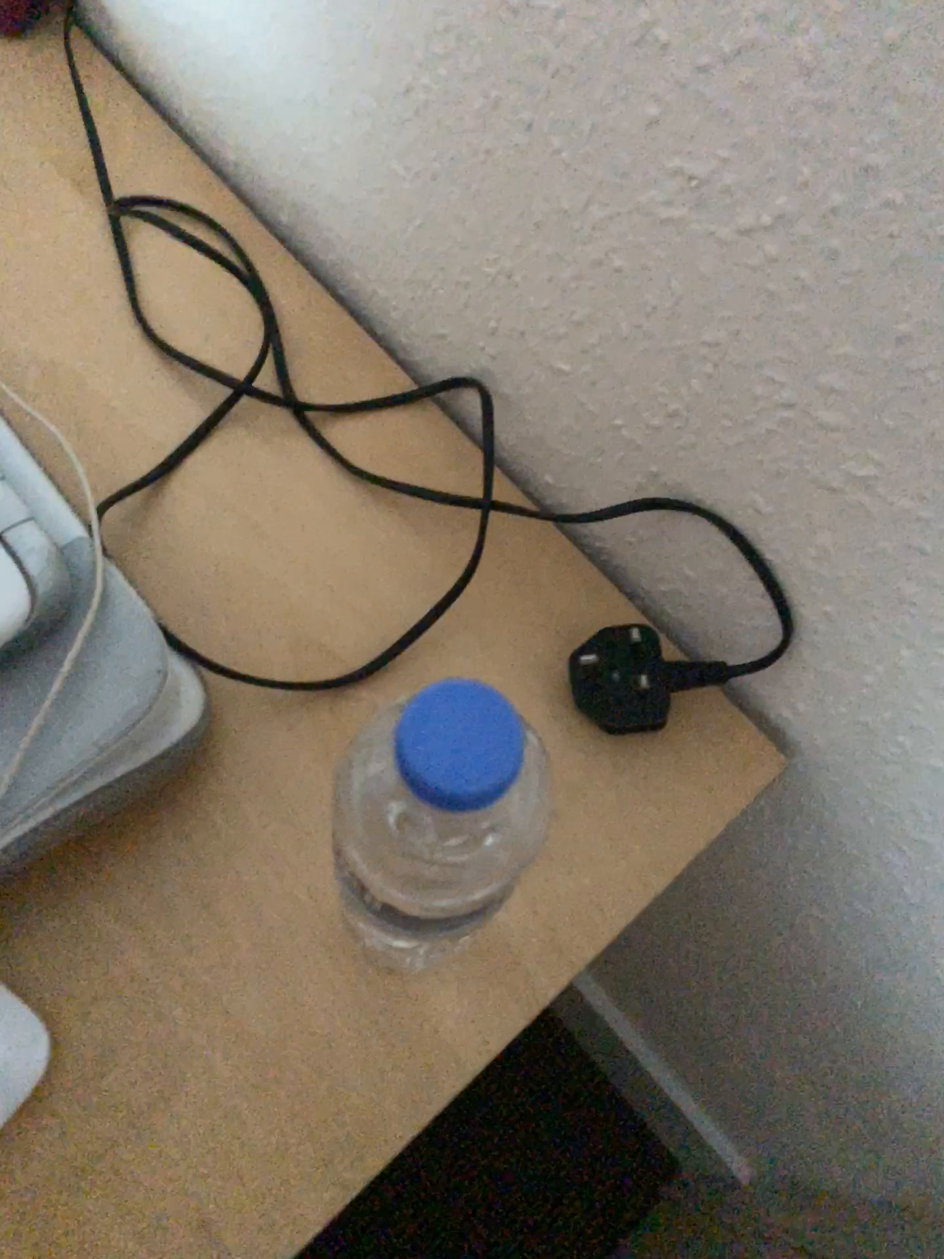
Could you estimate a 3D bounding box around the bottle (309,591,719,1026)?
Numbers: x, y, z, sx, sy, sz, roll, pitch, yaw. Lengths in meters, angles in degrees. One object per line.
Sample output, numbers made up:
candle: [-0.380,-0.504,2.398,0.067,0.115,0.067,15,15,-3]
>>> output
bottle: [-0.005,0.070,0.301,0.070,0.189,0.070,4,64,-8]
